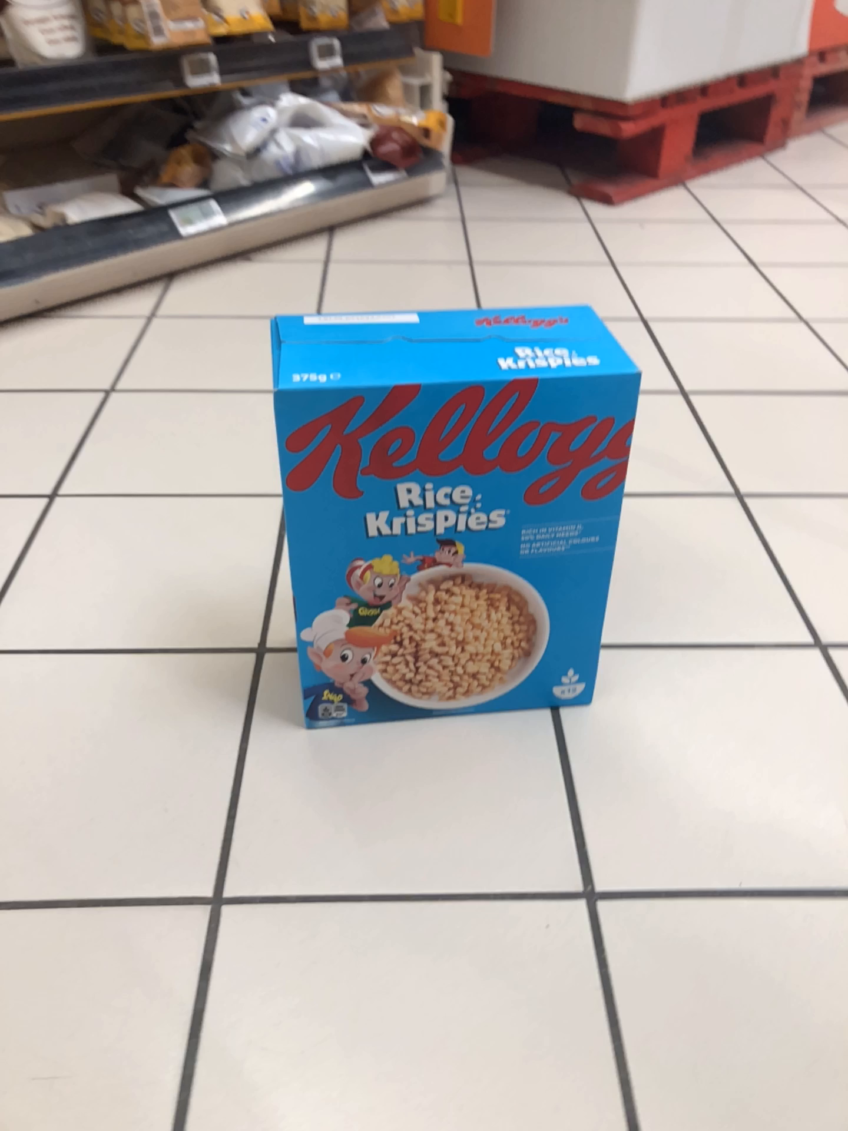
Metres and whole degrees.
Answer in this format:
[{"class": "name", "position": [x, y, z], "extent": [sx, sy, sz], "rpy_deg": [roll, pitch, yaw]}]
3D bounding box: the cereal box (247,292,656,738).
[{"class": "cereal box", "position": [0.008, -0.027, 0.567], "extent": [0.200, 0.238, 0.111], "rpy_deg": [-3, 36, -6]}]
